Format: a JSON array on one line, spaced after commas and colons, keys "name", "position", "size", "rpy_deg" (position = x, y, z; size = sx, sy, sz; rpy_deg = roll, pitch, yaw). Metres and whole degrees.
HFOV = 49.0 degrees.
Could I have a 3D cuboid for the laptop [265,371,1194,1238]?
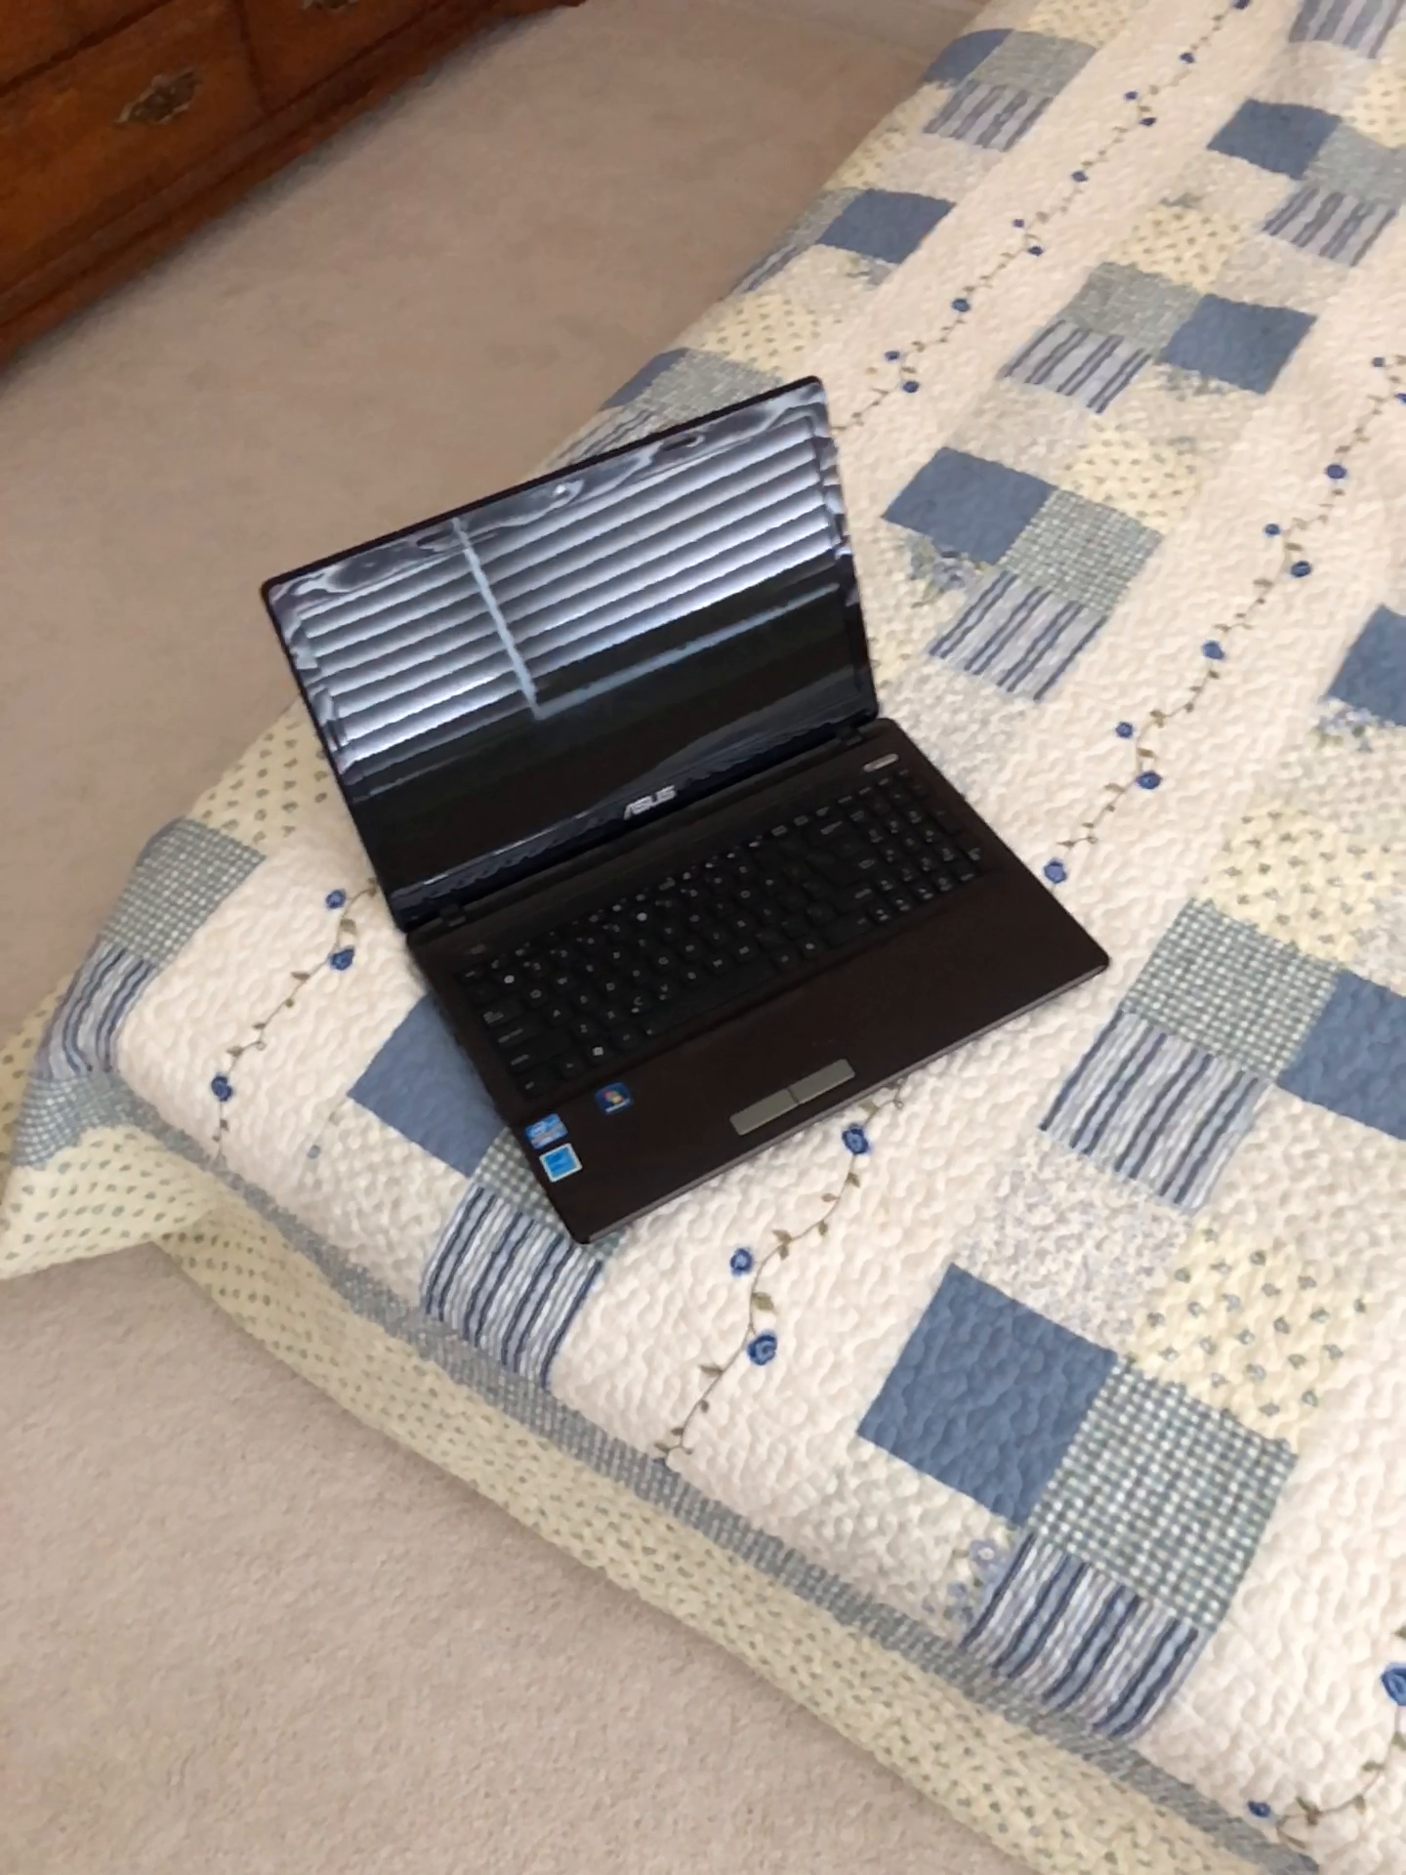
[{"name": "laptop", "position": [0.003, -0.092, 0.888], "size": [0.358, 0.193, 0.351], "rpy_deg": [-25, 59, -16]}]
